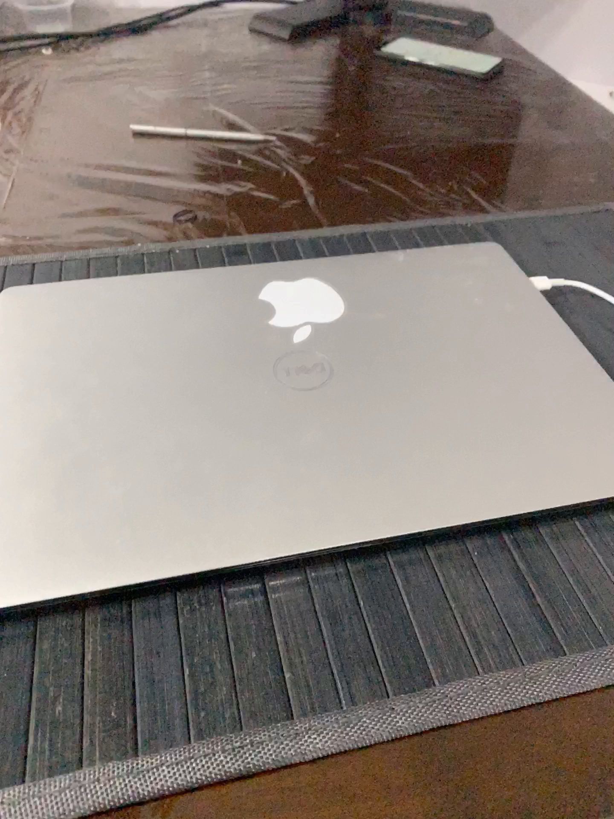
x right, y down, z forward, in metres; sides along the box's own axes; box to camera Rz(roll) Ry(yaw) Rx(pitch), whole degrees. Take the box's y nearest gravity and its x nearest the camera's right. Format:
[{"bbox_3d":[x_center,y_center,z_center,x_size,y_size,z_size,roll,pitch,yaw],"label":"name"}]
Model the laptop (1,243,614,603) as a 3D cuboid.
[{"bbox_3d":[0.009,-0.019,0.302,0.271,0.001,0.189,-8,45,-10],"label":"laptop"}]
